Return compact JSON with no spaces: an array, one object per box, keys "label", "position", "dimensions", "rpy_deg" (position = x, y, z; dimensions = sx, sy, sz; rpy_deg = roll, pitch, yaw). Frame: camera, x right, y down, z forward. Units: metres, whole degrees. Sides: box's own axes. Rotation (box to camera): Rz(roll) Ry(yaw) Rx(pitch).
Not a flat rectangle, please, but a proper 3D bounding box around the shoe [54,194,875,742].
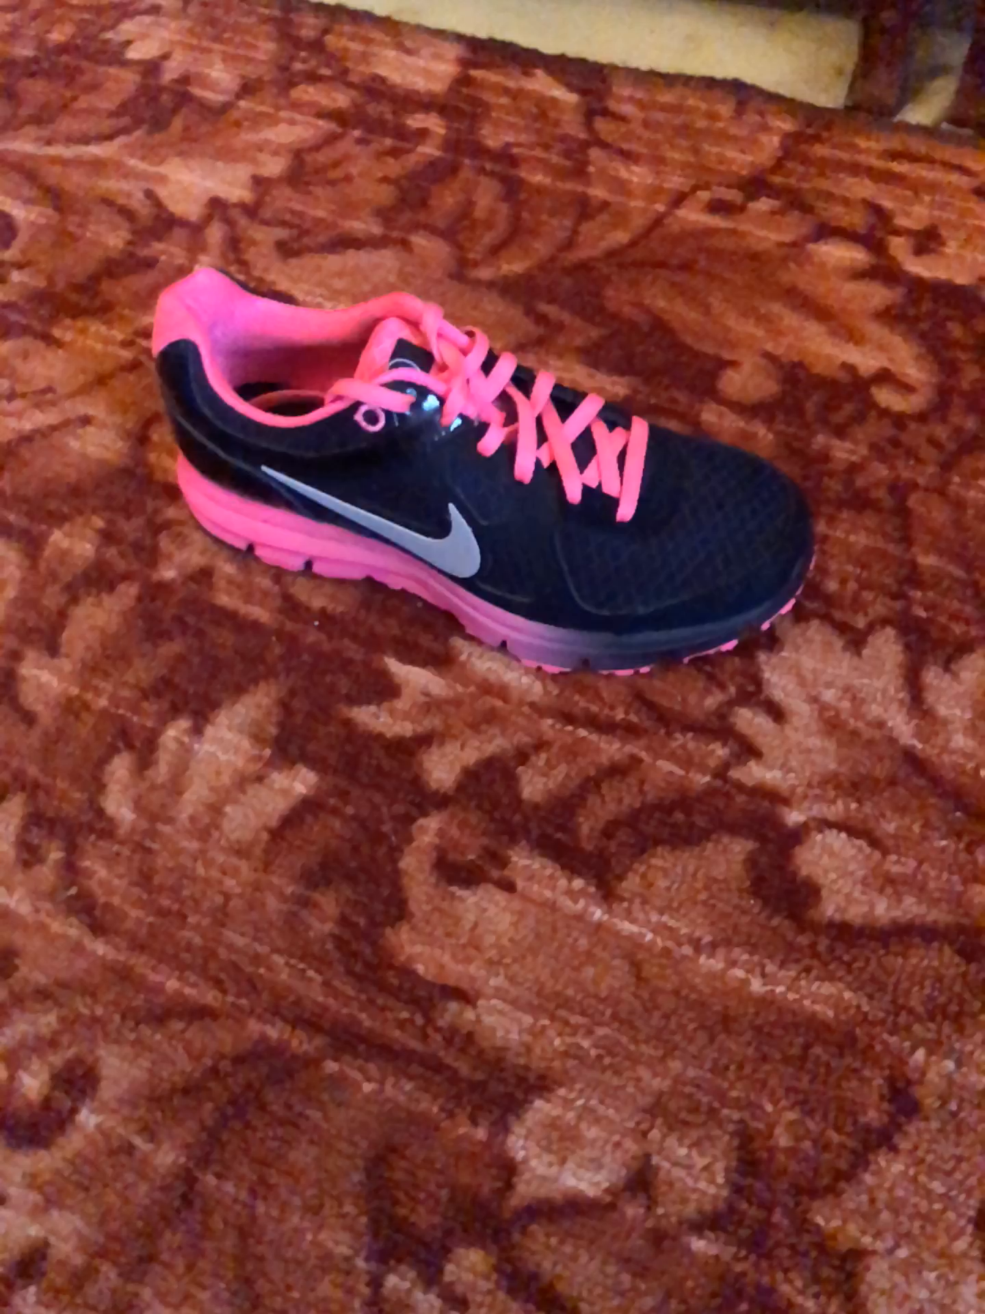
[{"label":"shoe","position":[-0.007,-0.073,0.403],"dimensions":[0.250,0.100,0.110],"rpy_deg":[15,59,12]}]
